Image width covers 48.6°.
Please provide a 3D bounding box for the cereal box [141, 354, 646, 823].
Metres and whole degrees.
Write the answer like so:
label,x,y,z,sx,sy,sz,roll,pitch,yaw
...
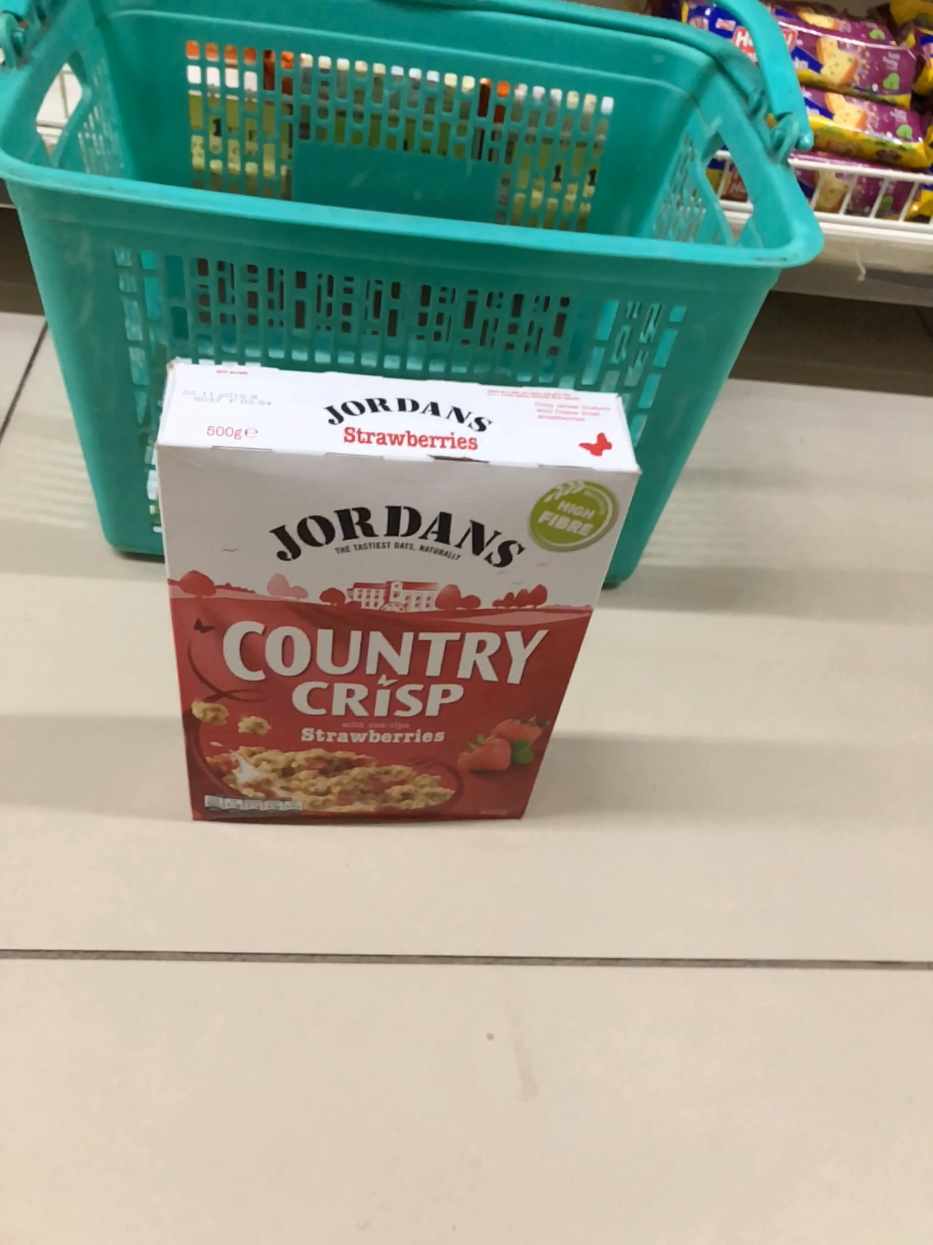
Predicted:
label,x,y,z,sx,sy,sz,roll,pitch,yaw
cereal box,-0.040,0.004,0.475,0.180,0.248,0.050,1,47,-9
